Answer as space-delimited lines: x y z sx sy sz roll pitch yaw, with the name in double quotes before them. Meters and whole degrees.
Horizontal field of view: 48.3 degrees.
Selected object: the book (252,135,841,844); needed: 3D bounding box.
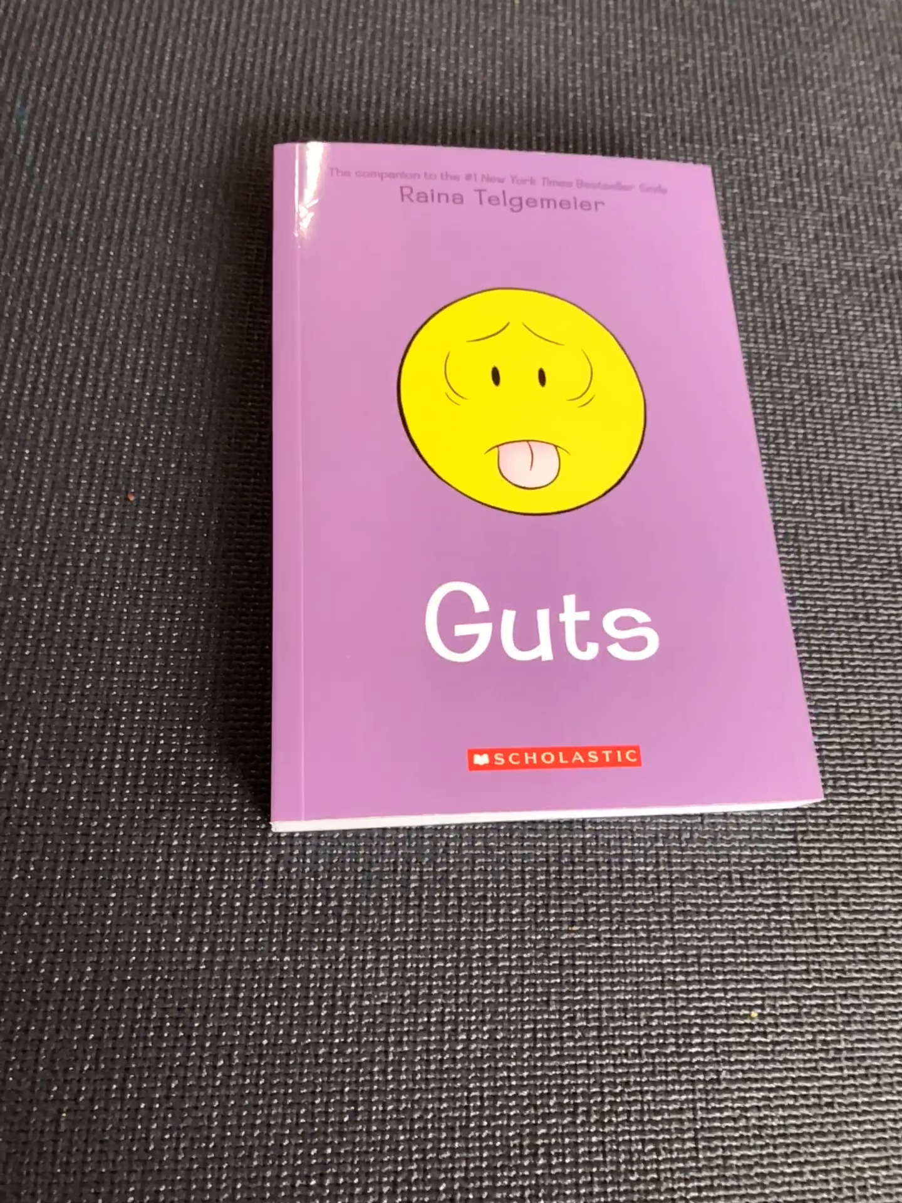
"book" 0.018 -0.040 0.284 0.143 0.024 0.202 -1 69 -9
